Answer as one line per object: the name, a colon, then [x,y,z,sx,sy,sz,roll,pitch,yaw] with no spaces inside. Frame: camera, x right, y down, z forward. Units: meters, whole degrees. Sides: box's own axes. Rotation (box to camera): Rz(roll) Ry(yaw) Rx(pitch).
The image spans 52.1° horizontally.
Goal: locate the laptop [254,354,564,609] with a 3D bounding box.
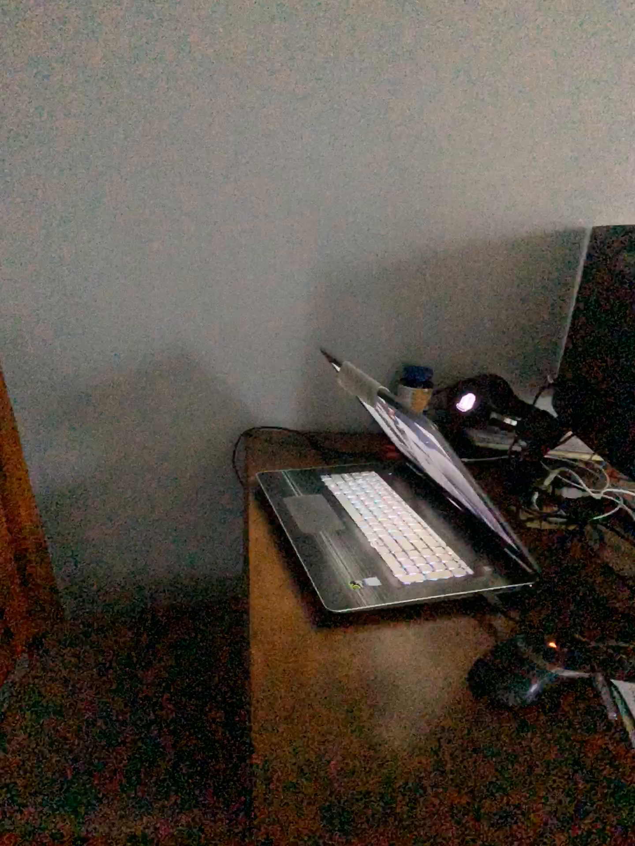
laptop: [0.083,0.042,0.882,0.257,0.187,0.394,-3,17,-16]
